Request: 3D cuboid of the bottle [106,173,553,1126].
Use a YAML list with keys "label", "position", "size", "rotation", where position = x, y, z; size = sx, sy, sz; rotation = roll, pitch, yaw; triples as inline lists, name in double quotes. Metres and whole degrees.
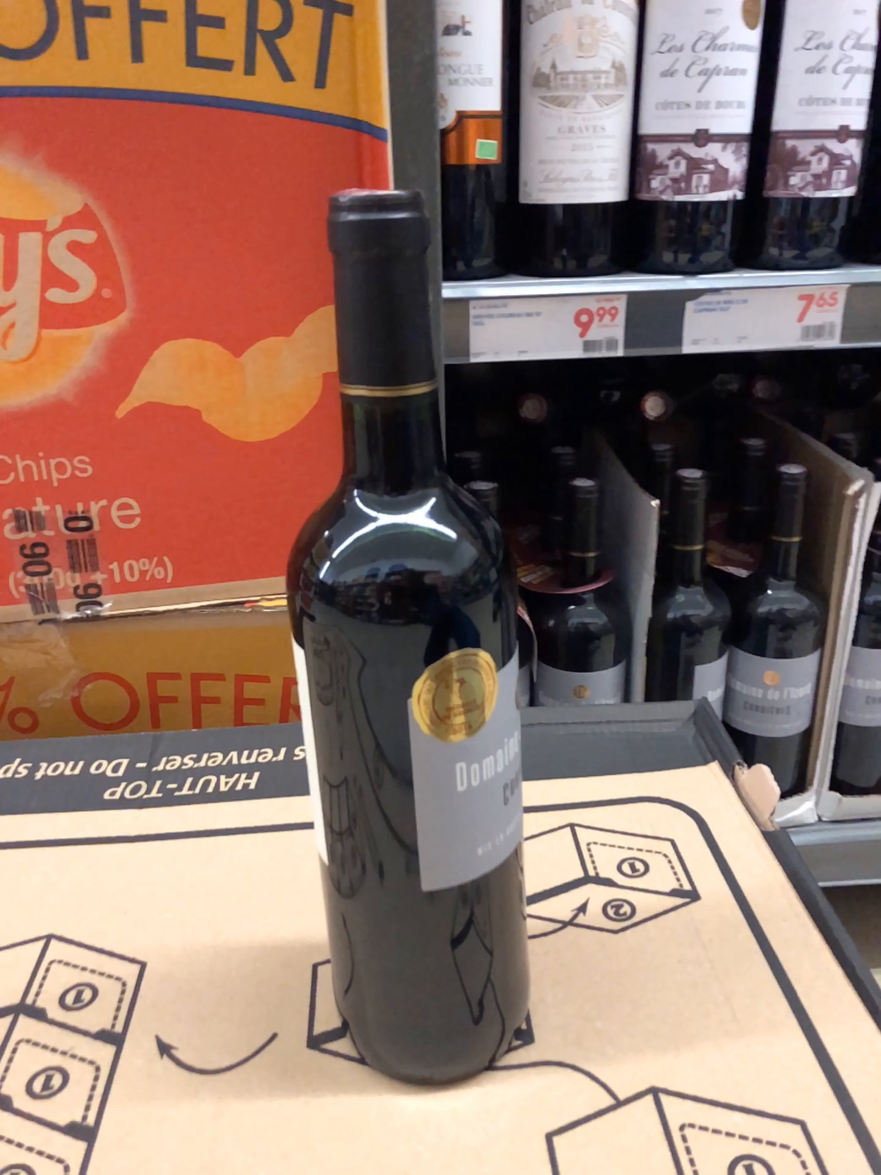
- label: "bottle"
  position: [-0.018, 0.023, 0.305]
  size: [0.090, 0.279, 0.091]
  rotation: [-1, 23, 1]
